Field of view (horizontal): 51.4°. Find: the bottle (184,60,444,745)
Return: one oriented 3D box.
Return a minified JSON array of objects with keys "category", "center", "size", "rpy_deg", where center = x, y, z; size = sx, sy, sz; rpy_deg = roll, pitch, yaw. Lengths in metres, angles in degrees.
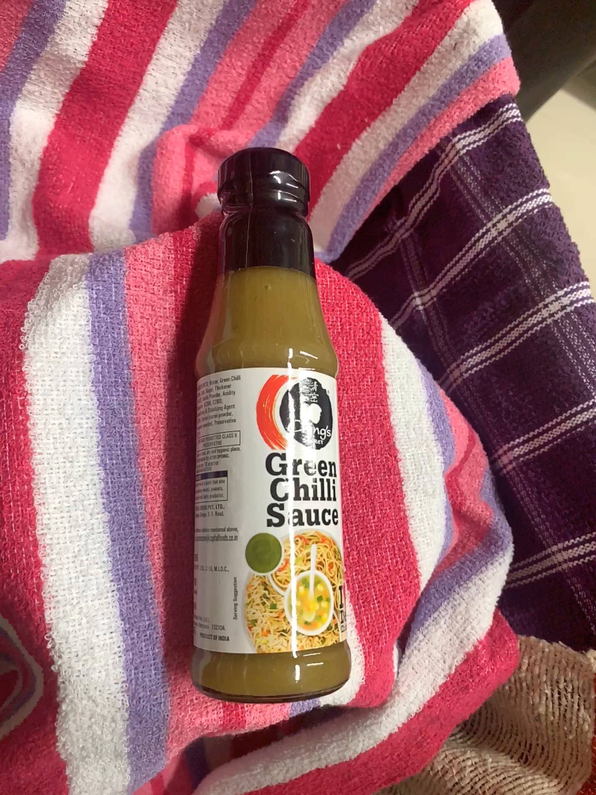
[{"category":"bottle","center":[-0.001,-0.002,0.184],"size":[0.050,0.050,0.170],"rpy_deg":[4,76,-30]}]
